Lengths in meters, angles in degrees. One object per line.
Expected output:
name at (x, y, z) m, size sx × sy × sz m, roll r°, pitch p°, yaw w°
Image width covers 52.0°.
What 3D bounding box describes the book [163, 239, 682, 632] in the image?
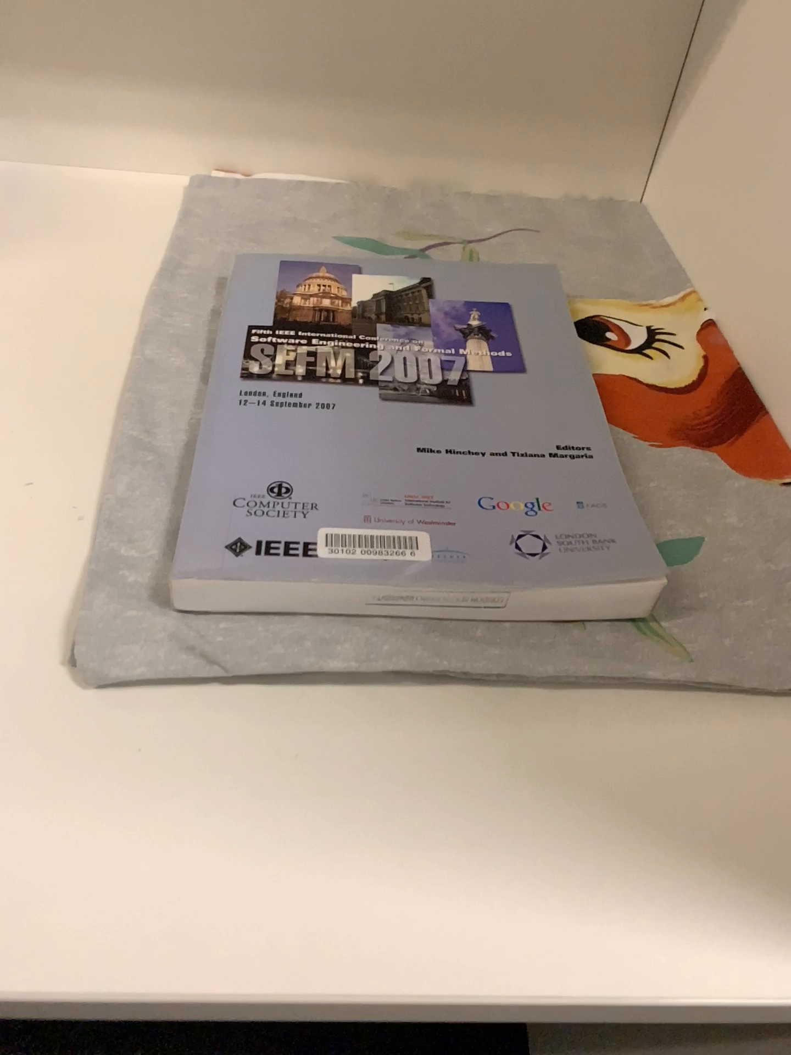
book at (0.008, -0.068, 0.432) m, size 0.210 × 0.030 × 0.277 m, roll 2°, pitch 46°, yaw -5°
